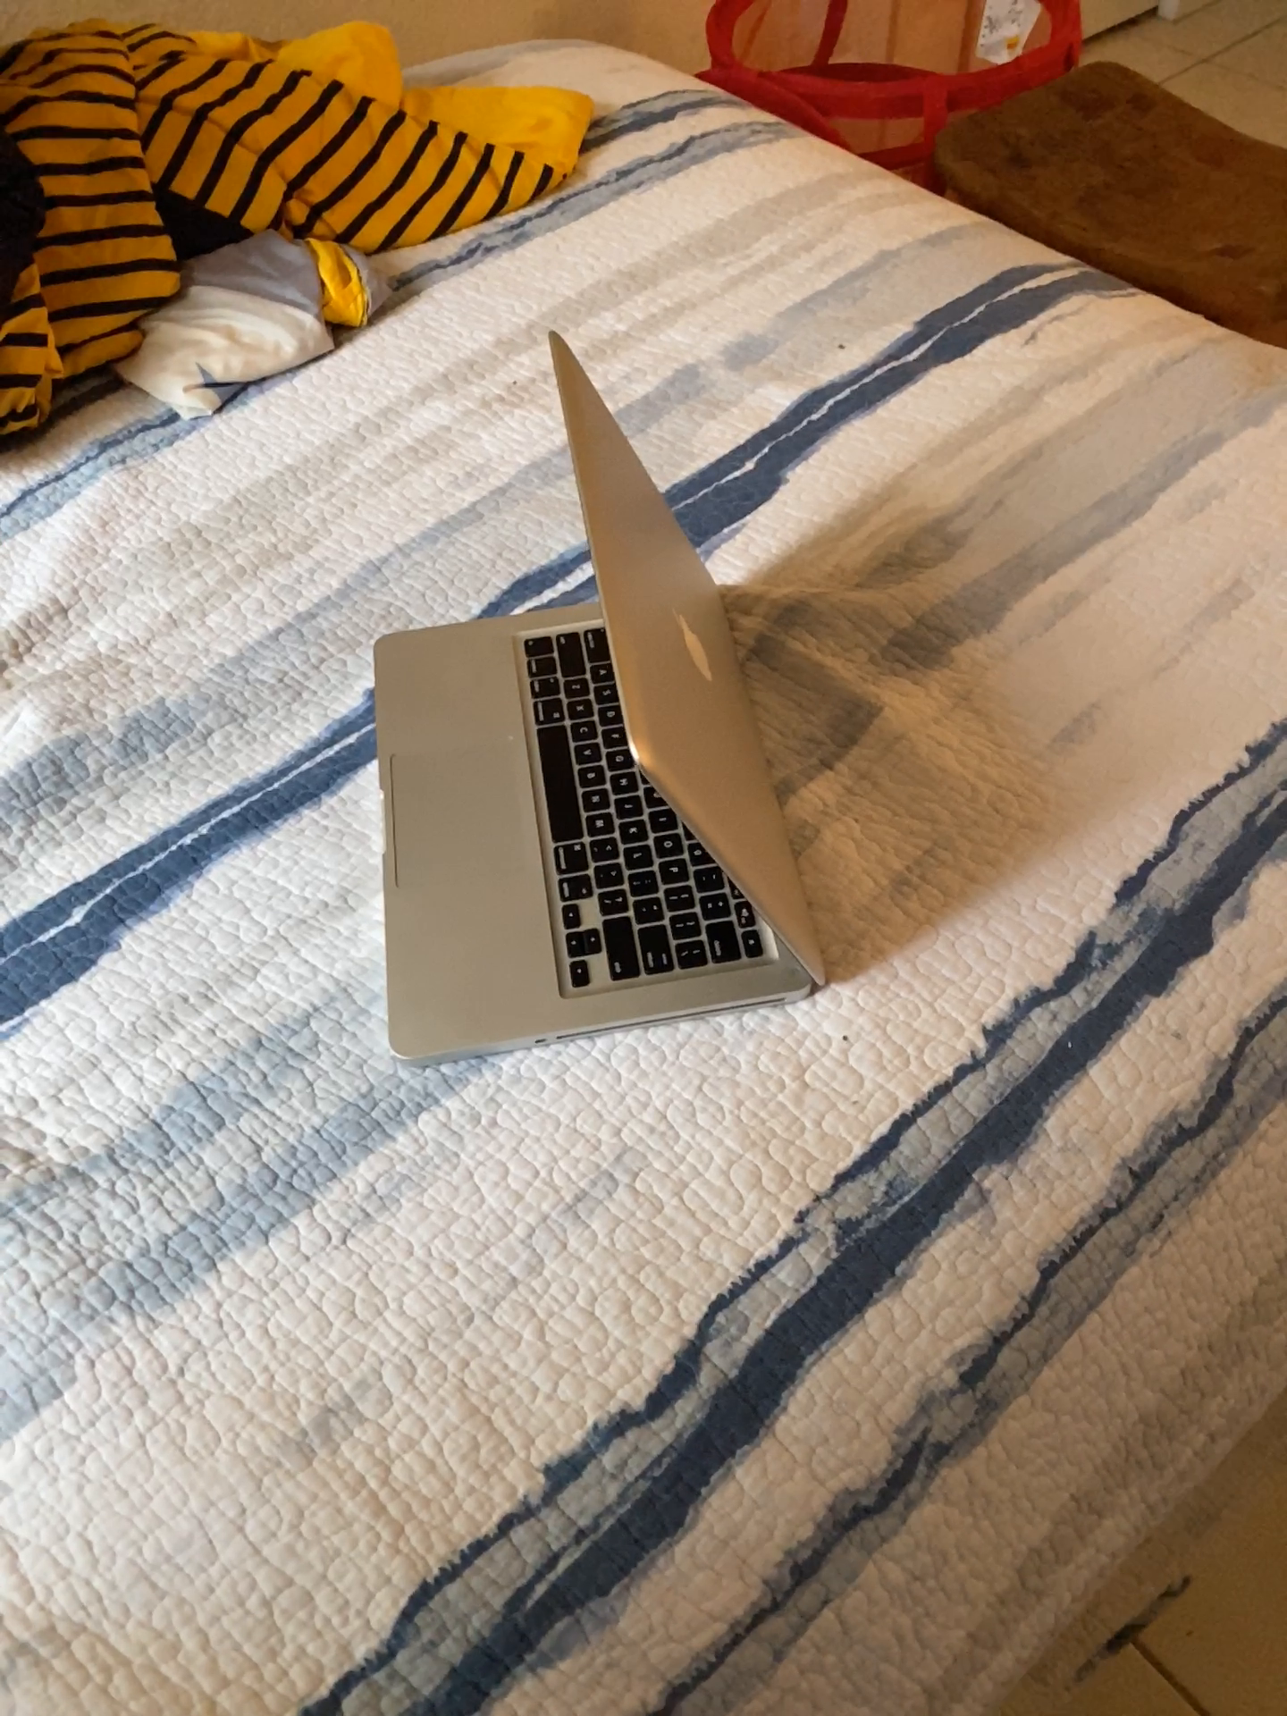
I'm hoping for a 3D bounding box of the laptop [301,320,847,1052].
[{"bbox_3d":[-0.048,-0.098,0.697,0.220,0.191,0.316,-9,52,-2],"label":"laptop"}]
